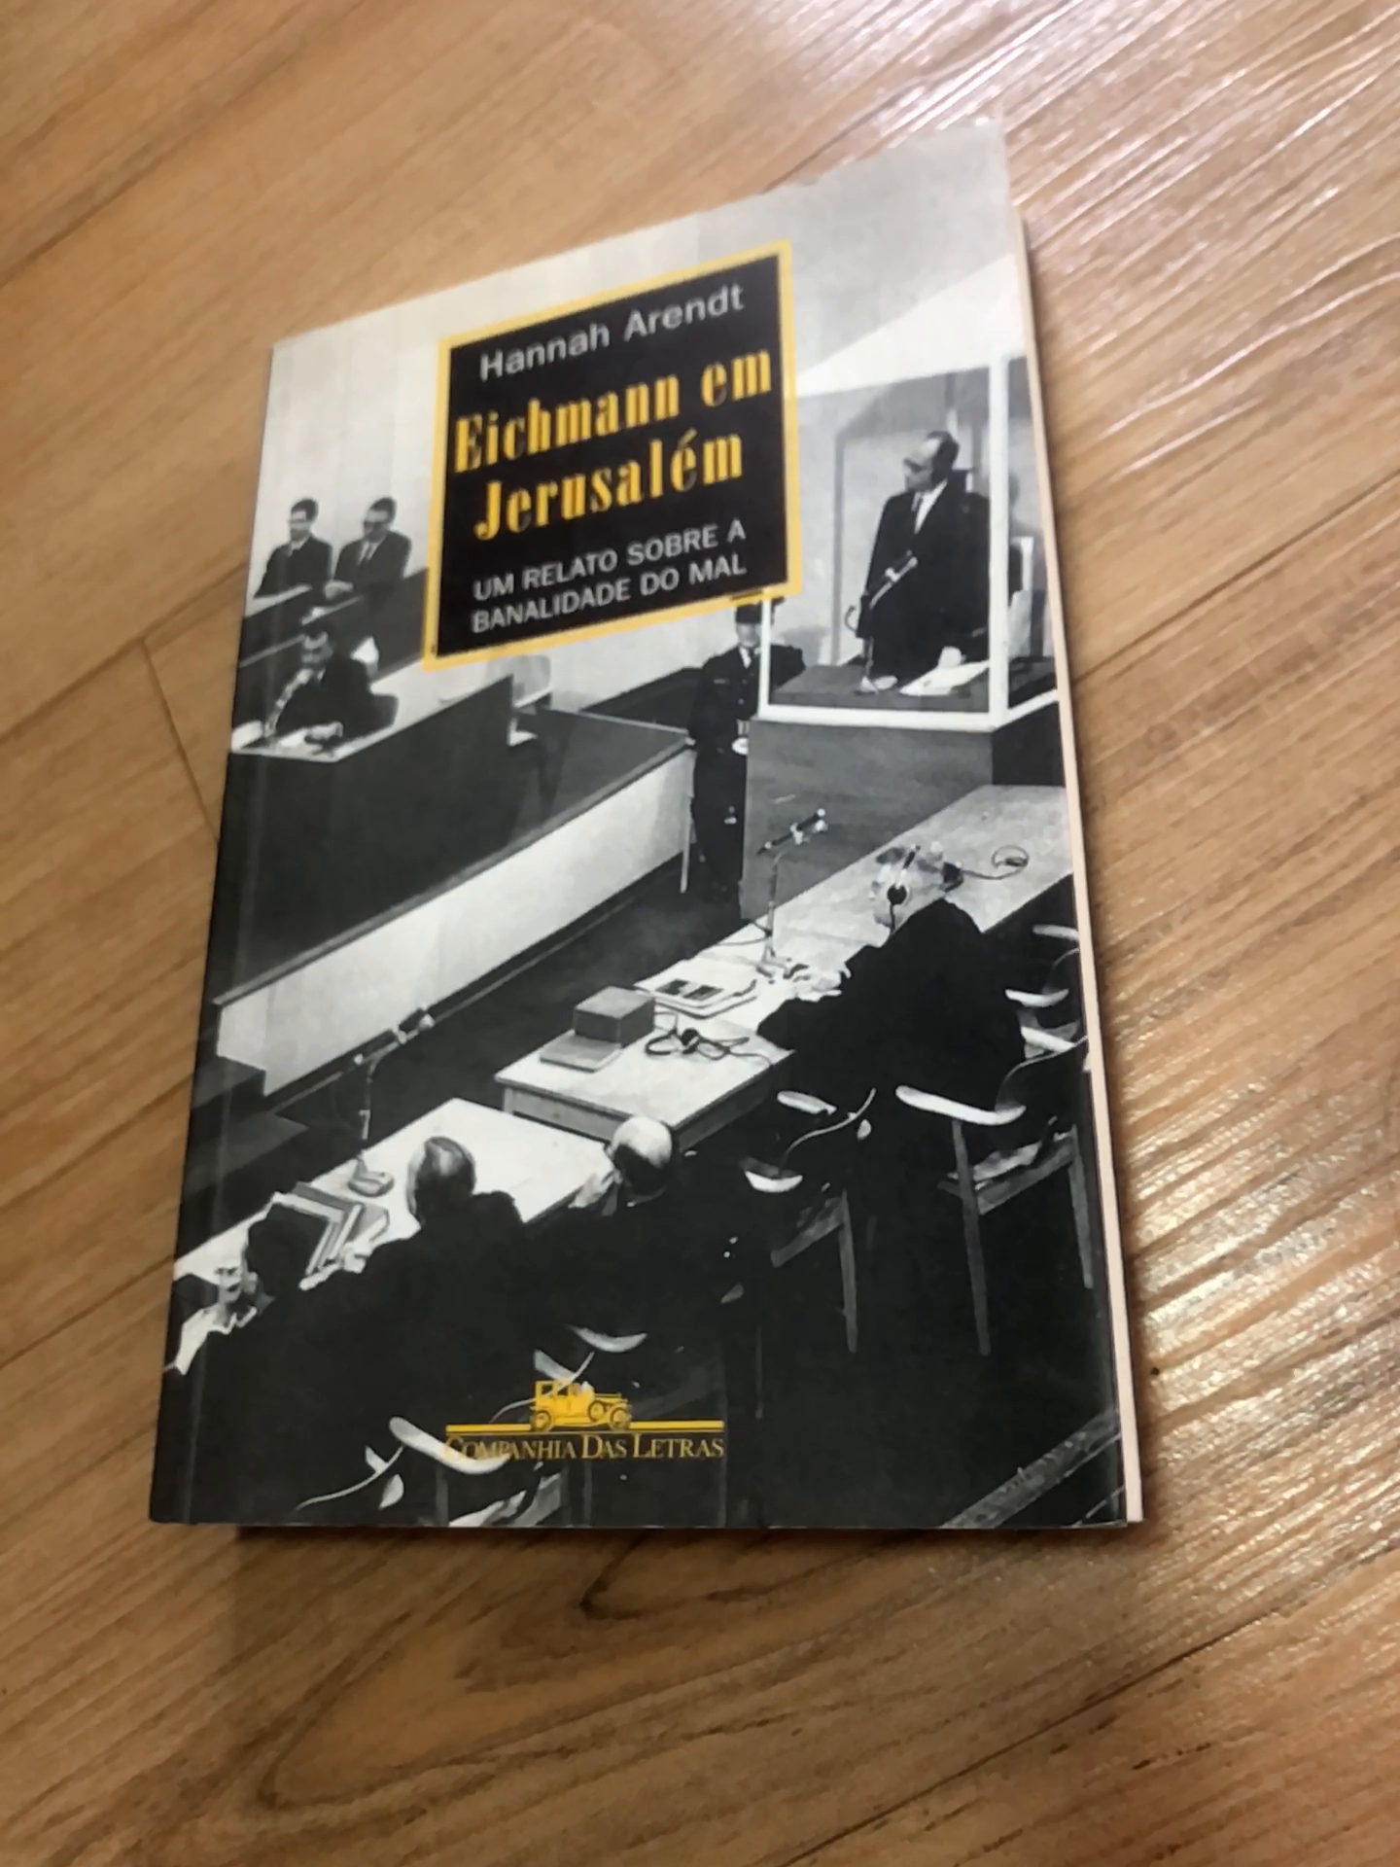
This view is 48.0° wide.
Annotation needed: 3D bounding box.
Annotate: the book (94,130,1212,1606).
[{"bbox_3d":[-0.012,-0.012,0.234,0.144,0.023,0.203,-8,69,20],"label":"book"}]
